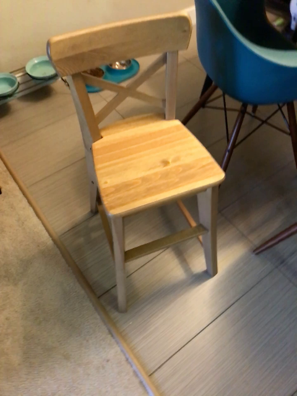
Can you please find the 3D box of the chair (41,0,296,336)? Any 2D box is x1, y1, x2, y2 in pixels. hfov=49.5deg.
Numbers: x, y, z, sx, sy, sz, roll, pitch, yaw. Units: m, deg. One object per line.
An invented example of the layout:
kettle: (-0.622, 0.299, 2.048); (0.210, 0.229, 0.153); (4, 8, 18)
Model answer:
chair: (0.065, -0.031, 0.884); (0.441, 0.686, 0.492); (-18, 57, -14)
